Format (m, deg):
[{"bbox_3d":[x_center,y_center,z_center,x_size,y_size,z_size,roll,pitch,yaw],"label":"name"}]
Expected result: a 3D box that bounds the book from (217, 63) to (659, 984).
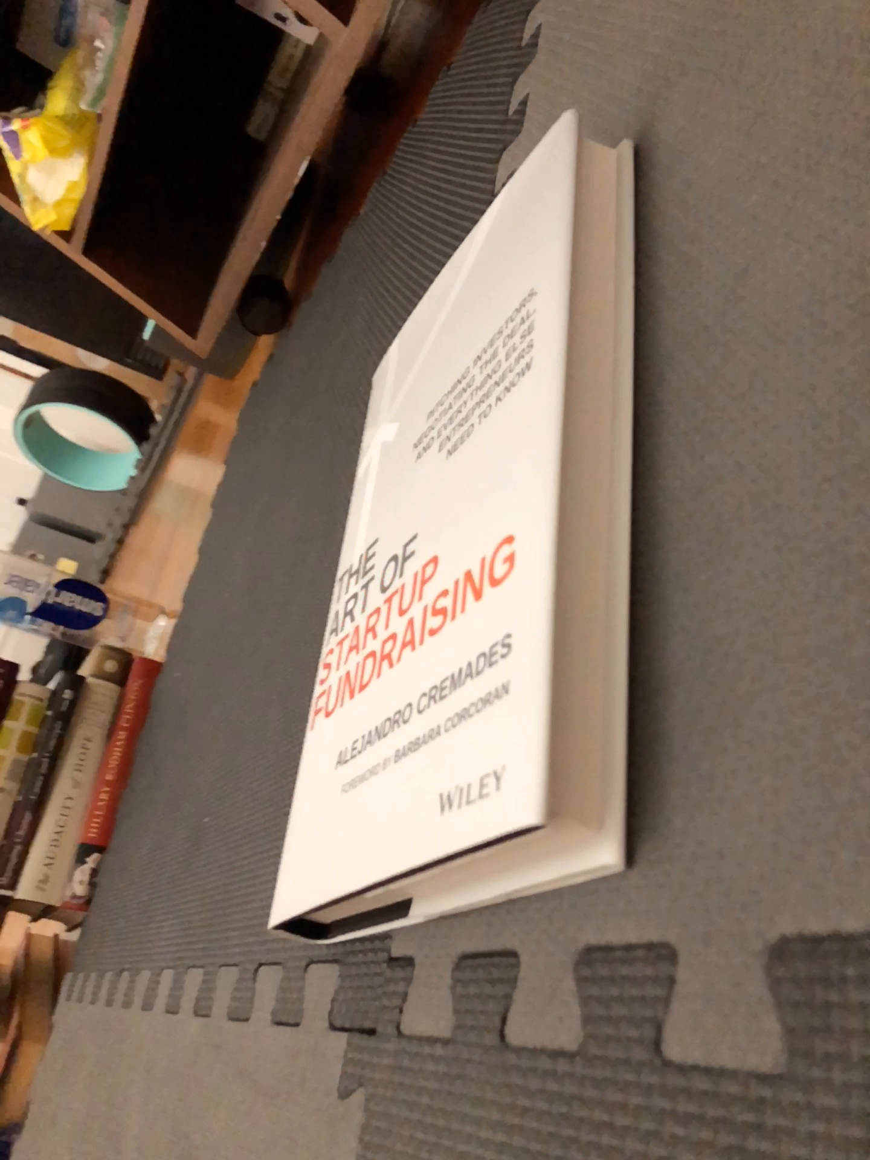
[{"bbox_3d":[0.001,-0.013,0.303,0.170,0.030,0.251,-40,34,53],"label":"book"}]
